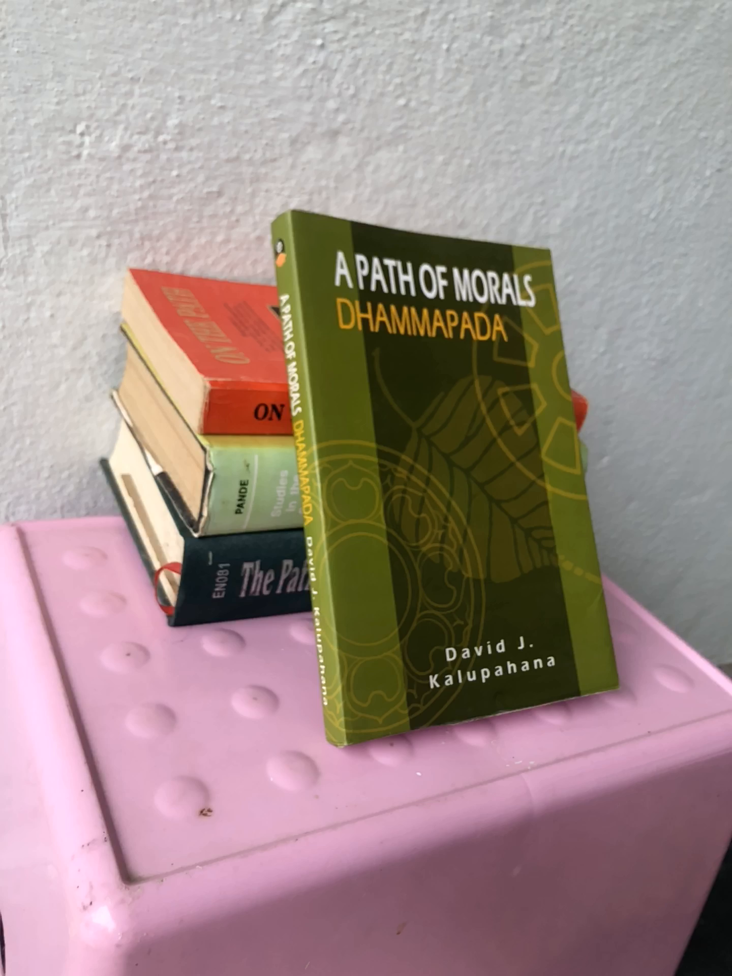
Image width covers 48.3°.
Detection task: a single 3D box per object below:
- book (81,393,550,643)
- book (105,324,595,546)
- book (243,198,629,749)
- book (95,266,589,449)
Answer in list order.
[{"bbox_3d":[-0.034,0.003,0.454,0.211,0.050,0.160,-3,30,-28],"label":"book"},{"bbox_3d":[-0.013,-0.037,0.438,0.211,0.040,0.160,-3,30,-30],"label":"book"},{"bbox_3d":[0.032,-0.009,0.361,0.151,0.210,0.040,-1,-10,-31],"label":"book"},{"bbox_3d":[-0.017,-0.073,0.431,0.211,0.030,0.160,-4,30,-30],"label":"book"}]
